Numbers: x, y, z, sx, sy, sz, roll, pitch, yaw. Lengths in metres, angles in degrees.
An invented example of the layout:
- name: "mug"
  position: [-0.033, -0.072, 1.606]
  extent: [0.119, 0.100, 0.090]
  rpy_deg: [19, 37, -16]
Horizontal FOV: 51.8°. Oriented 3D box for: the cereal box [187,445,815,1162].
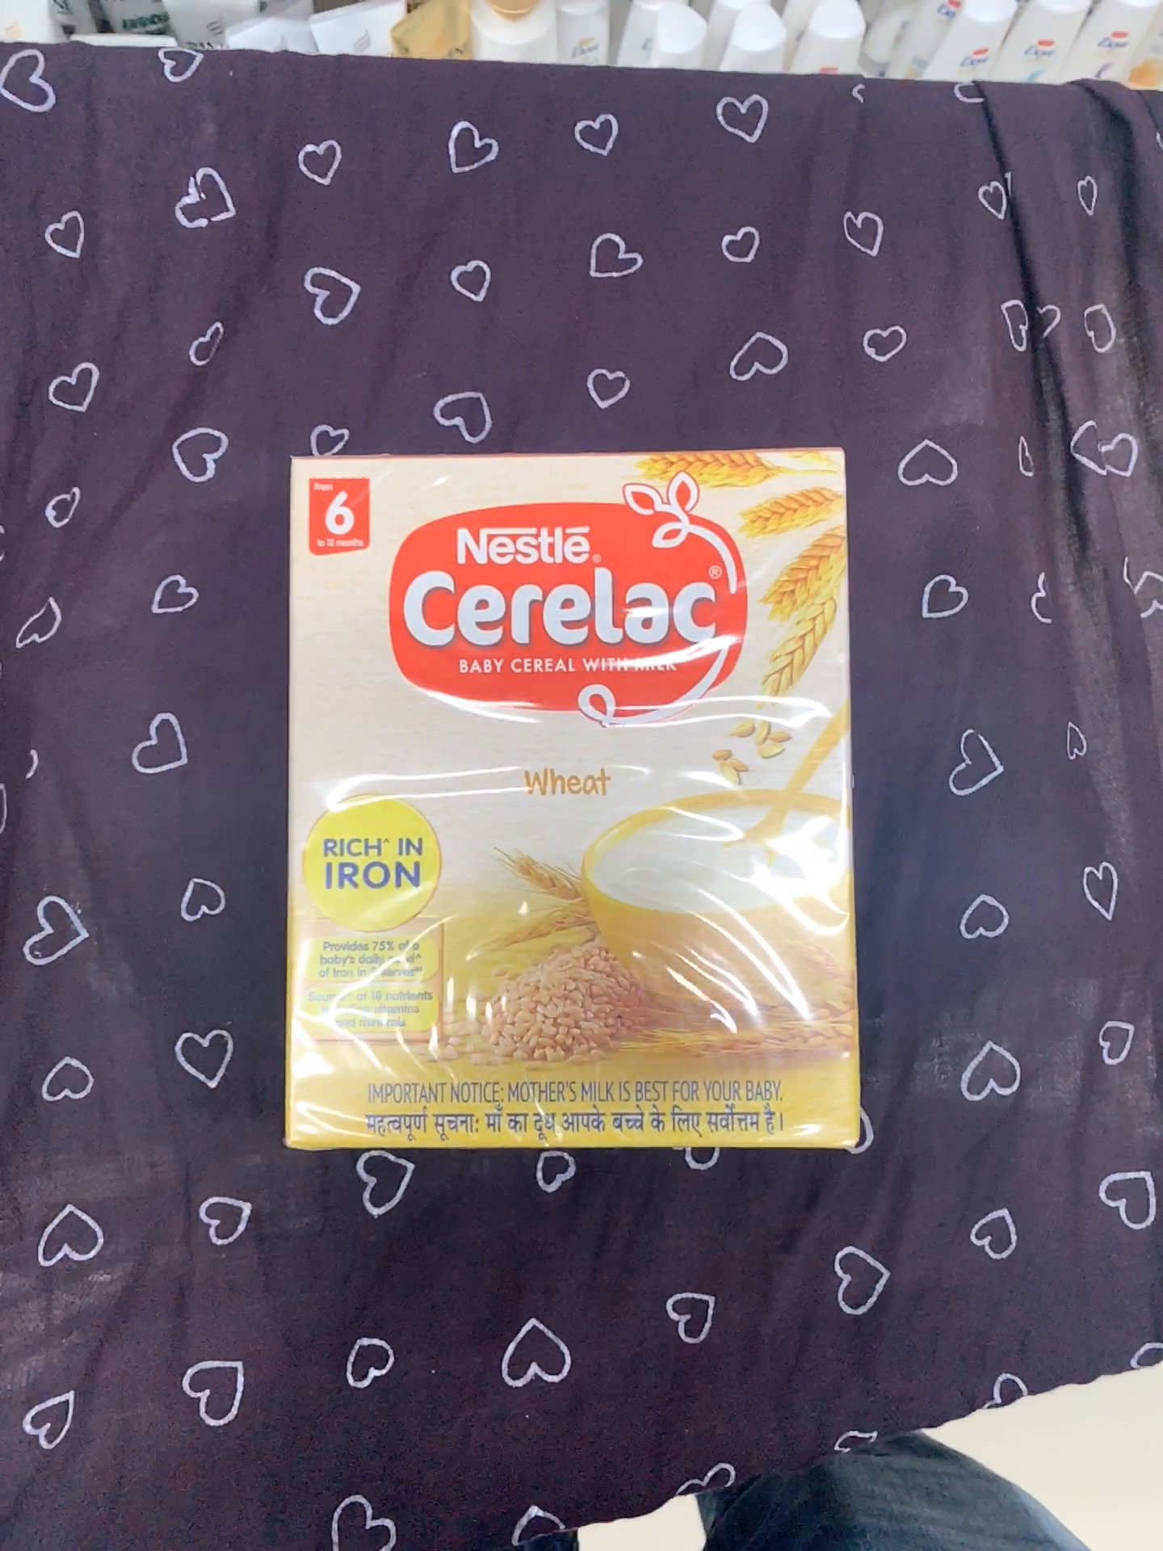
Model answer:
- name: "cereal box"
  position: [-0.018, 0.006, 0.290]
  extent: [0.140, 0.040, 0.160]
  rpy_deg: [0, 87, 2]
